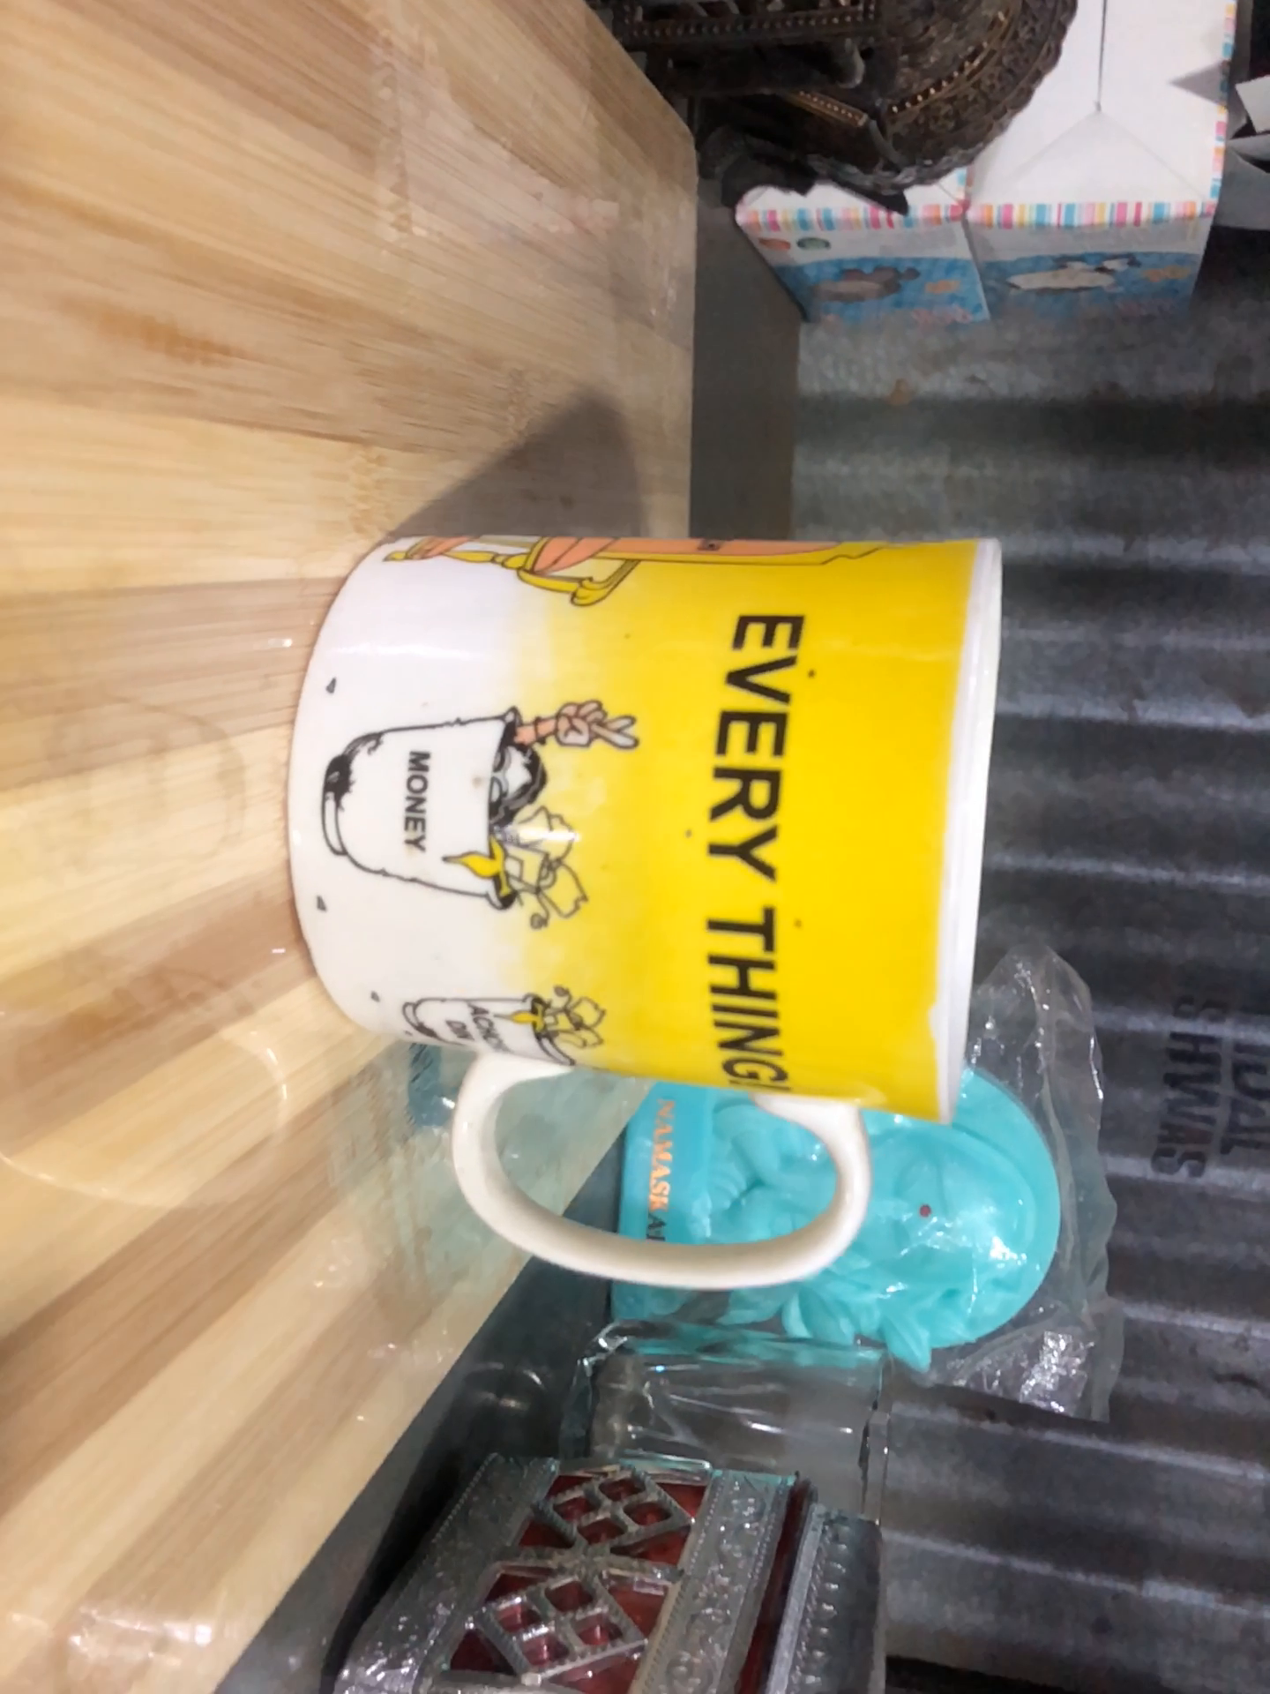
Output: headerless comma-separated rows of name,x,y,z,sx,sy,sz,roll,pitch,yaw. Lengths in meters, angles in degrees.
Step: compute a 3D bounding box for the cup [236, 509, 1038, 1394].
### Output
cup,0.006,0.008,0.220,0.070,0.100,0.110,-51,144,-67
